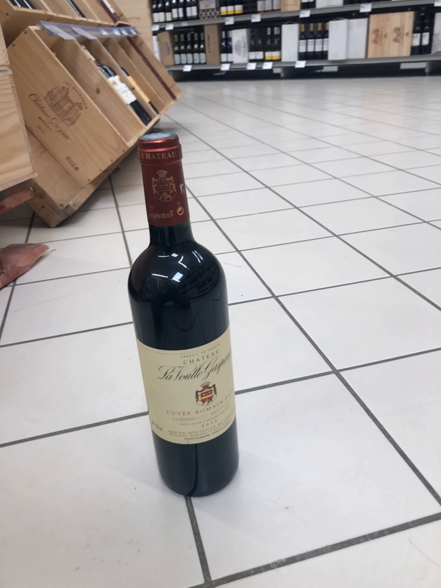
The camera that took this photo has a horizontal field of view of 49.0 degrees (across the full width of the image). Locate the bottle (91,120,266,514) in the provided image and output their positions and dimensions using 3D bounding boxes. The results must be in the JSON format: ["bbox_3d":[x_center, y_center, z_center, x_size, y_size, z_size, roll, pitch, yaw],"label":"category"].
[{"bbox_3d":[-0.025,0.023,0.384,0.080,0.288,0.090,-17,29,-25],"label":"bottle"}]
